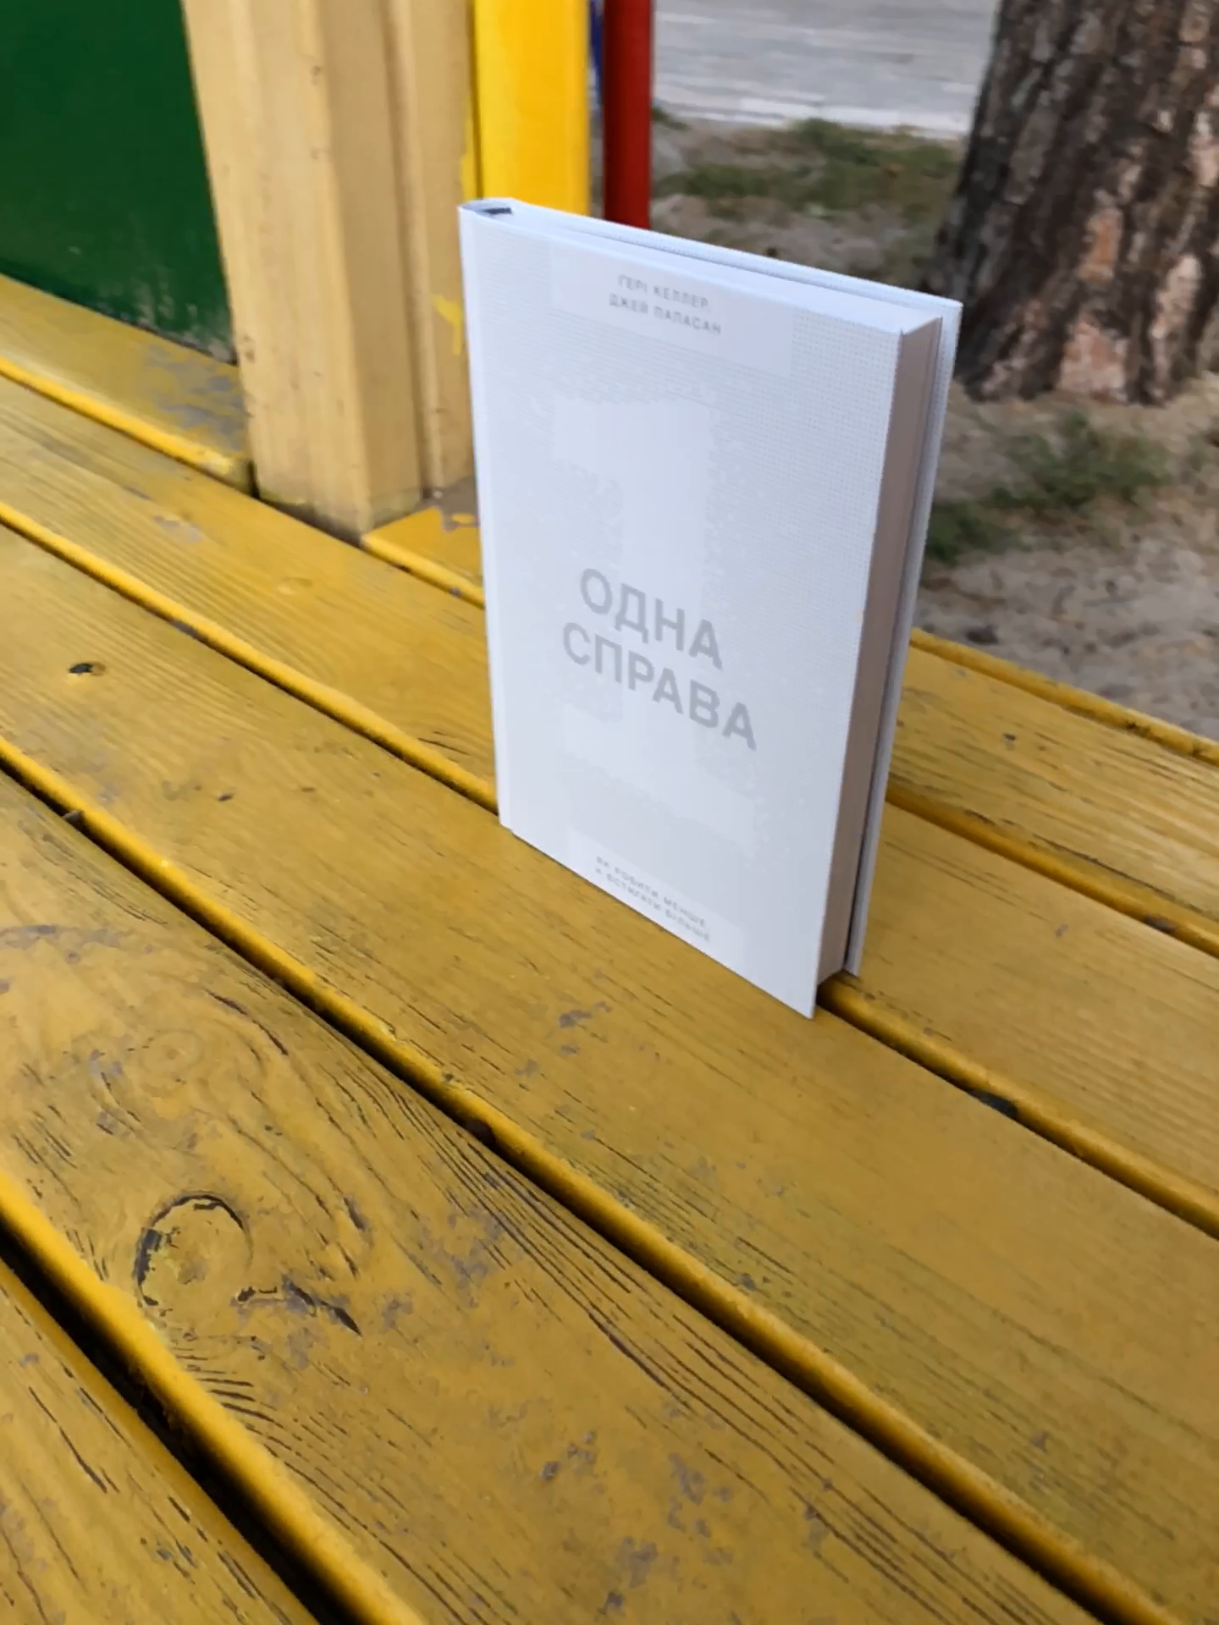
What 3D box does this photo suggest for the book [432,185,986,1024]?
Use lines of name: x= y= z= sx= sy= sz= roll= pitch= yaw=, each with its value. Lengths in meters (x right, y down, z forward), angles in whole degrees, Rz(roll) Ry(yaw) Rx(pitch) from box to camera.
book: x=0.018 y=-0.057 z=0.397 sx=0.154 sy=0.208 sz=0.030 roll=30 pitch=47 yaw=33
